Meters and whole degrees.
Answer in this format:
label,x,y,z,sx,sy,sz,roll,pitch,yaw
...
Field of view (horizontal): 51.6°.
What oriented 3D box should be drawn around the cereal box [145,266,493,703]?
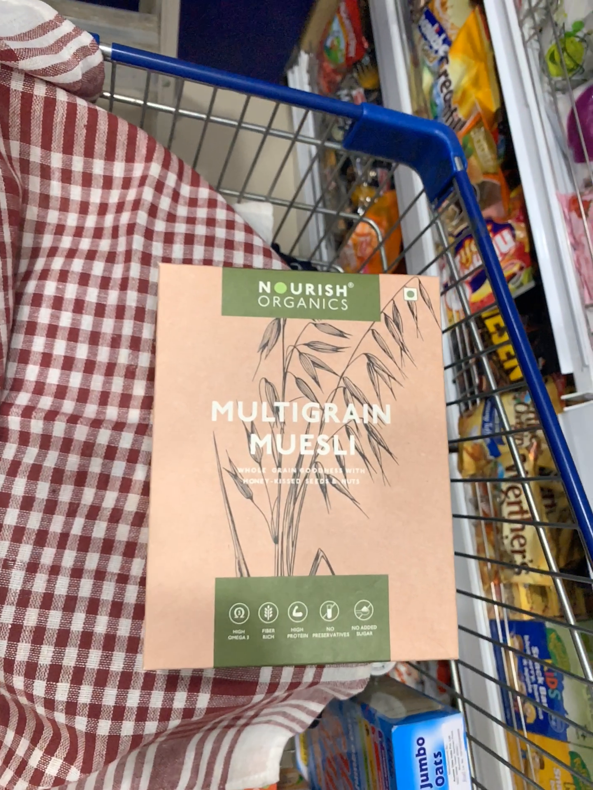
label,x,y,z,sx,sy,sz,roll,pitch,yaw
cereal box,0.009,0.041,0.320,0.160,0.050,0.200,1,79,-9
